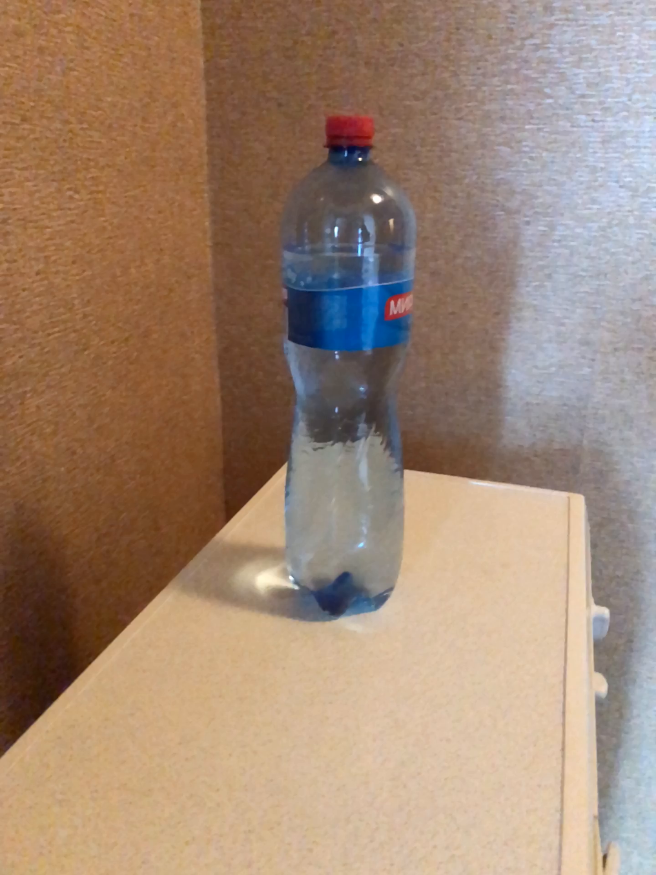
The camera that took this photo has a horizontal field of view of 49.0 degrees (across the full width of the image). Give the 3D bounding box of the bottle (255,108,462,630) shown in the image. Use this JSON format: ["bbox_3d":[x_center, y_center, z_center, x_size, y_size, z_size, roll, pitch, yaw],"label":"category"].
[{"bbox_3d":[0.012,-0.043,0.486,0.100,0.318,0.100,1,19,0],"label":"bottle"}]
